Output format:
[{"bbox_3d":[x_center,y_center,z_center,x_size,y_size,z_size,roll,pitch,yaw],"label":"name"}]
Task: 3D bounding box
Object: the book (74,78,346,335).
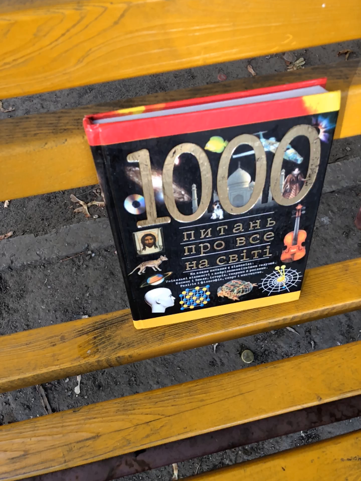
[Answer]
[{"bbox_3d":[0.026,-0.012,0.322,0.172,0.201,0.032,-10,41,-4],"label":"book"}]
